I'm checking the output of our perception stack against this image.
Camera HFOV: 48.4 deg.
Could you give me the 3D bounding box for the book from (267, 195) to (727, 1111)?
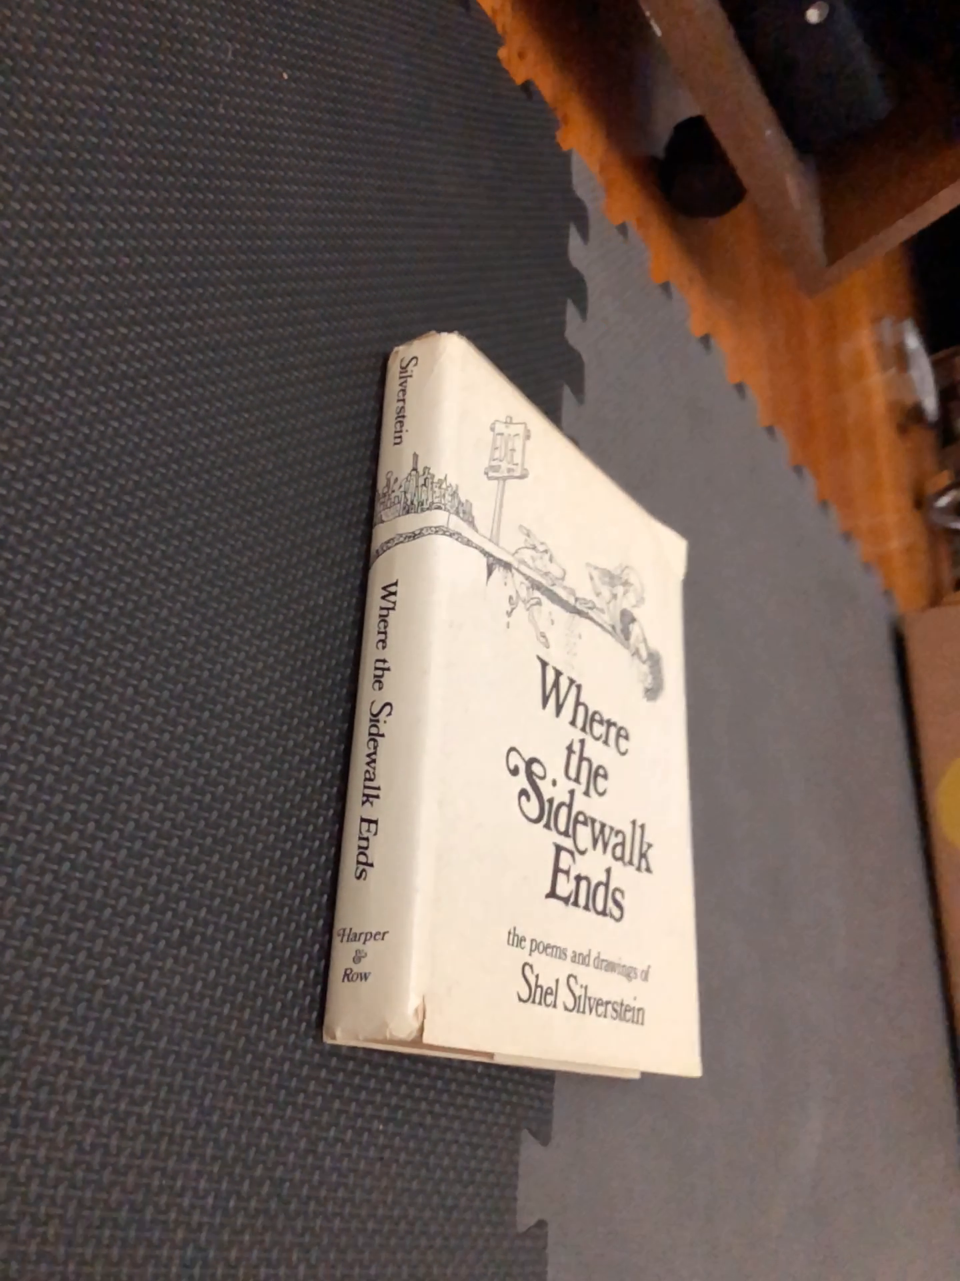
[{"bbox_3d":[0.024,0.013,0.387,0.201,0.030,0.281,31,52,-46],"label":"book"}]
